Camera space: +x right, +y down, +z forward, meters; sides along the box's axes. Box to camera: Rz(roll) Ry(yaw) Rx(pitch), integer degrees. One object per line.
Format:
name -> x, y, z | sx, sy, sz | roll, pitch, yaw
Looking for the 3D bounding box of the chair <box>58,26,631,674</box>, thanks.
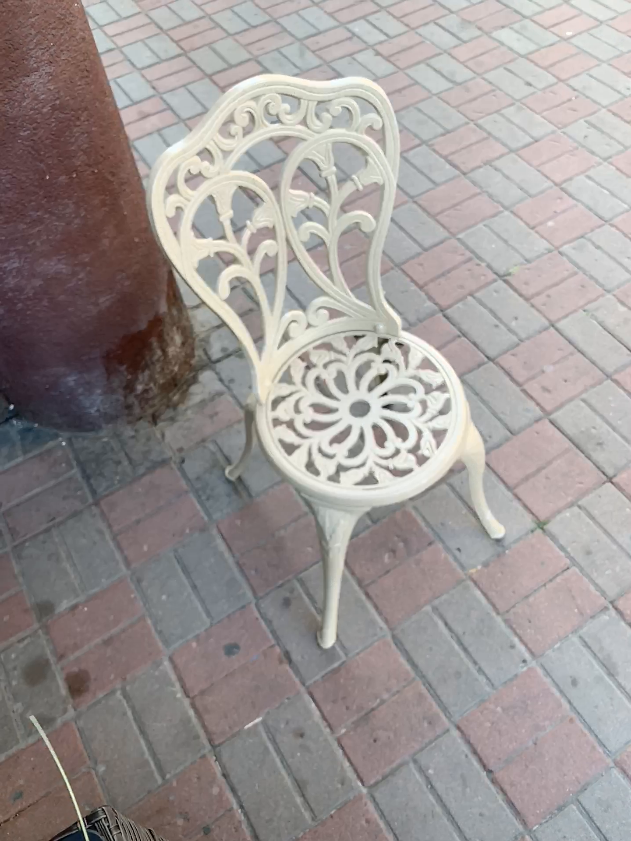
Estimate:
chair -> 0.045, -0.048, 1.072 | 0.480, 0.798, 0.551 | -28, 59, -14
